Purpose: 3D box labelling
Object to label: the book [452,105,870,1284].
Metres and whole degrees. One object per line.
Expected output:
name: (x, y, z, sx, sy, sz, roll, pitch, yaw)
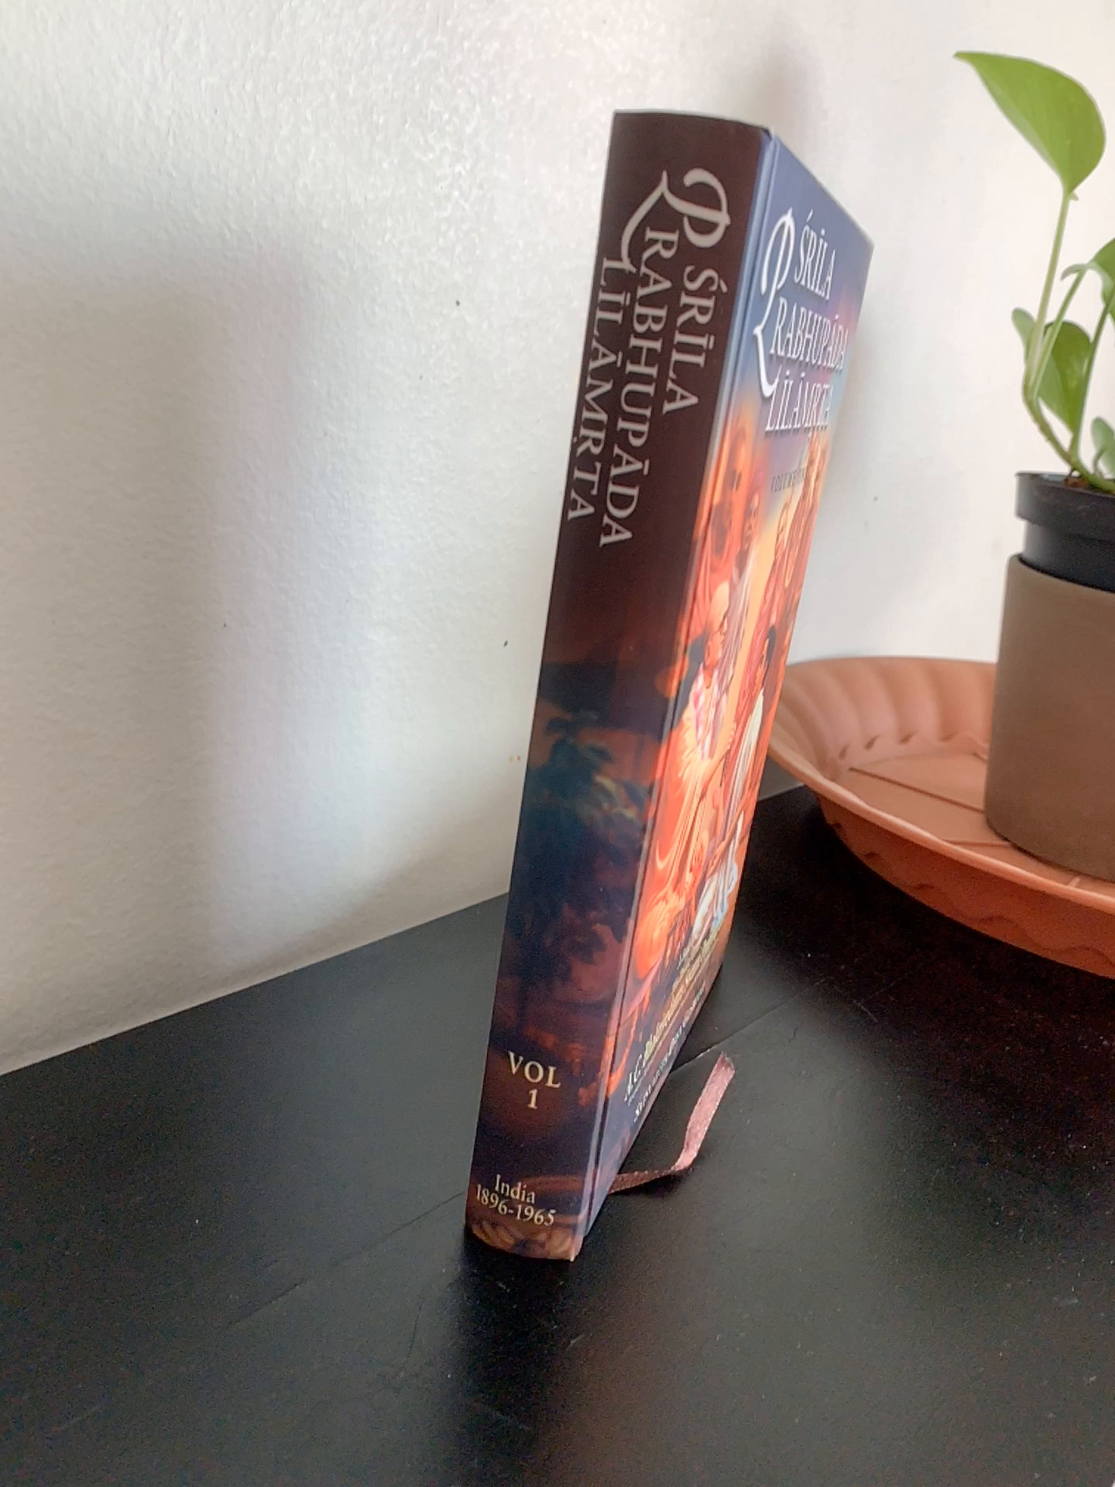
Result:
book: (0.033, -0.015, 0.299, 0.030, 0.233, 0.162, 13, 19, 17)
